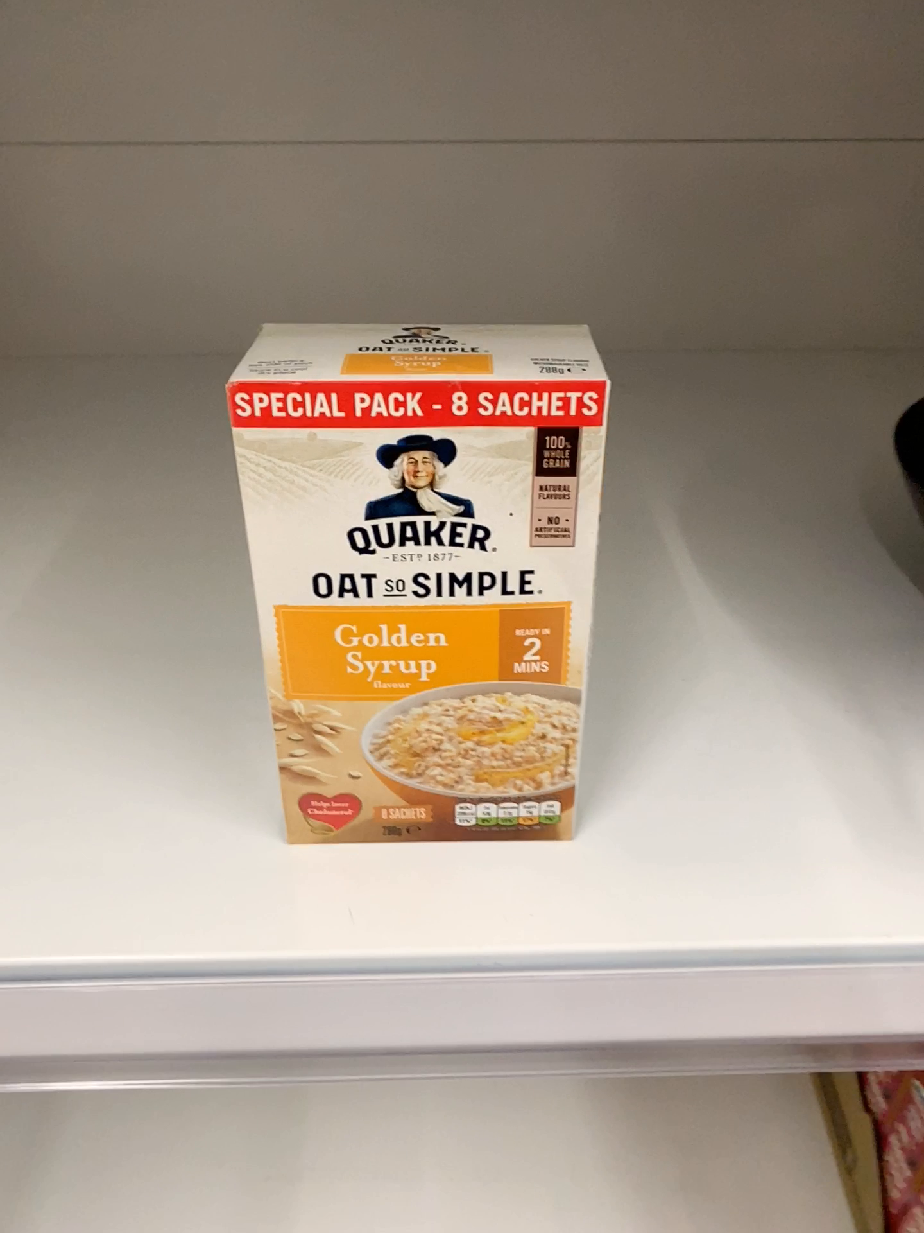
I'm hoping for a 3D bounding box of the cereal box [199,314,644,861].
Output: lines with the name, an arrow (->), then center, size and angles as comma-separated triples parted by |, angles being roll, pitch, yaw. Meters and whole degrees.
cereal box -> -0.013, -0.006, 0.382 | 0.140, 0.208, 0.071 | -1, 30, -1
